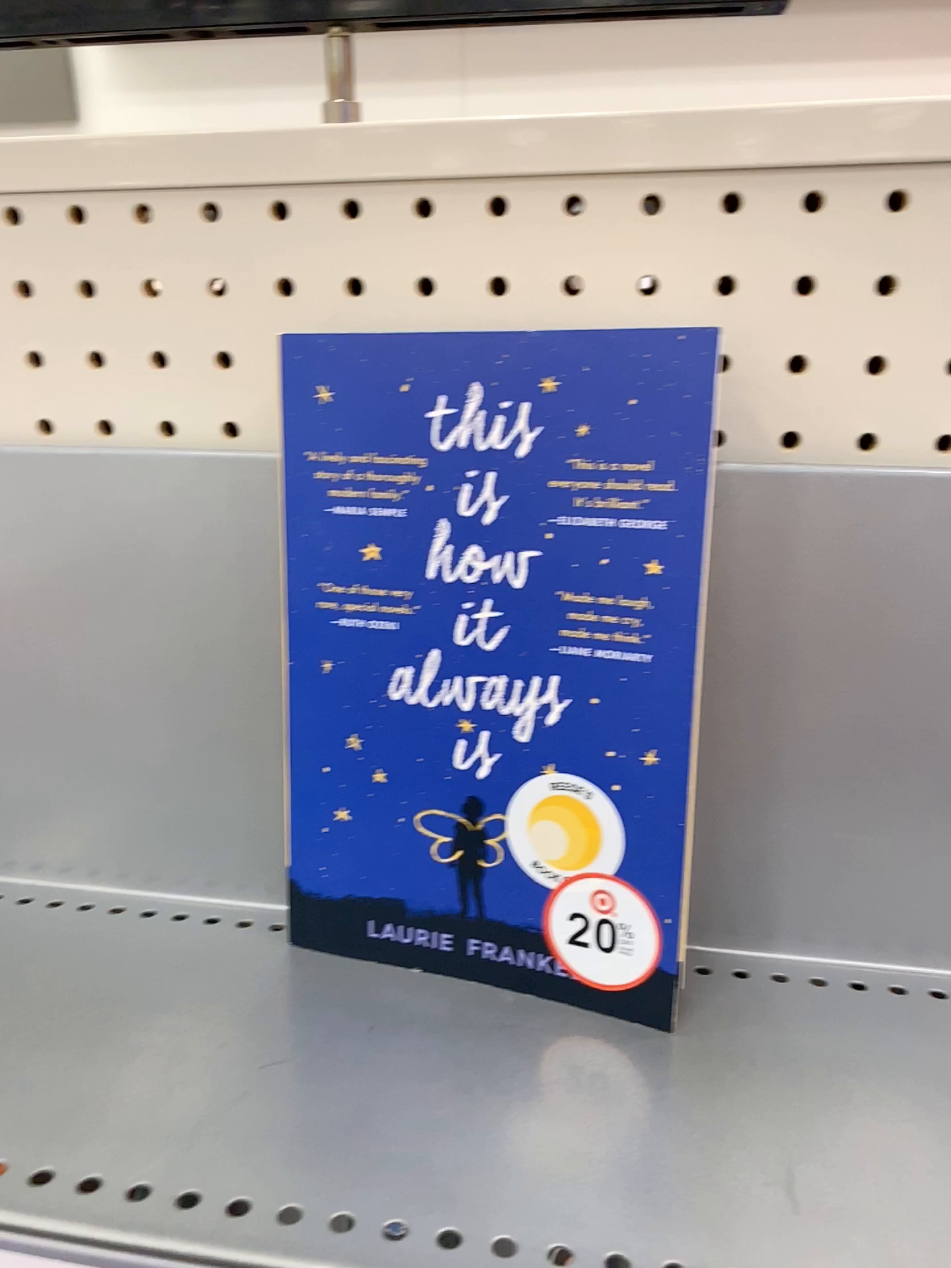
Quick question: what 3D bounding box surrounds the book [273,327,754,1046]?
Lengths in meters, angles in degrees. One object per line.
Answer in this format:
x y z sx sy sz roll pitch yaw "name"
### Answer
0.007 0.011 0.321 0.140 0.209 0.044 6 12 19 "book"
